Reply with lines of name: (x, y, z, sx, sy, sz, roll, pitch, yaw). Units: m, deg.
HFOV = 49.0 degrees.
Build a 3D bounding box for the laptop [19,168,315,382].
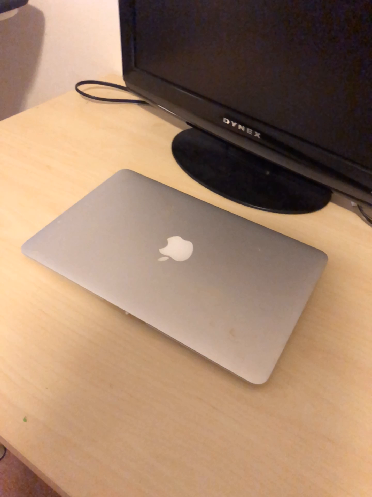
laptop: (-0.017, 0.005, 0.461, 0.279, 0.005, 0.181, 26, 50, 18)
